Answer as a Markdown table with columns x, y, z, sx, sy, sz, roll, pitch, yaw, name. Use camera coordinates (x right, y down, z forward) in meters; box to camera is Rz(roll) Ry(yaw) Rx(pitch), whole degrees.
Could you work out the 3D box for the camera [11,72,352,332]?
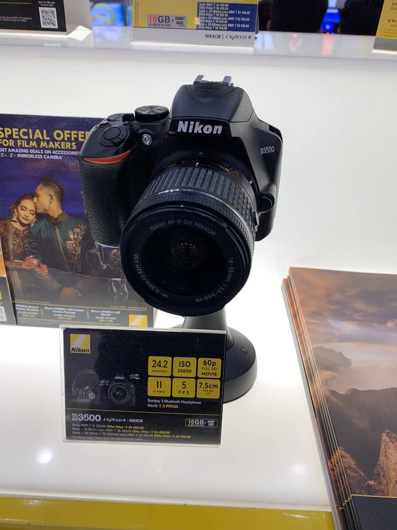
| x | y | z | sx | sy | sz | roll | pitch | yaw | name |
| --- | --- | --- | --- | --- | --- | --- | --- | --- | --- |
| 0.000 | -0.048 | 0.213 | 0.110 | 0.070 | 0.151 | 5 | 33 | 5 | camera |
